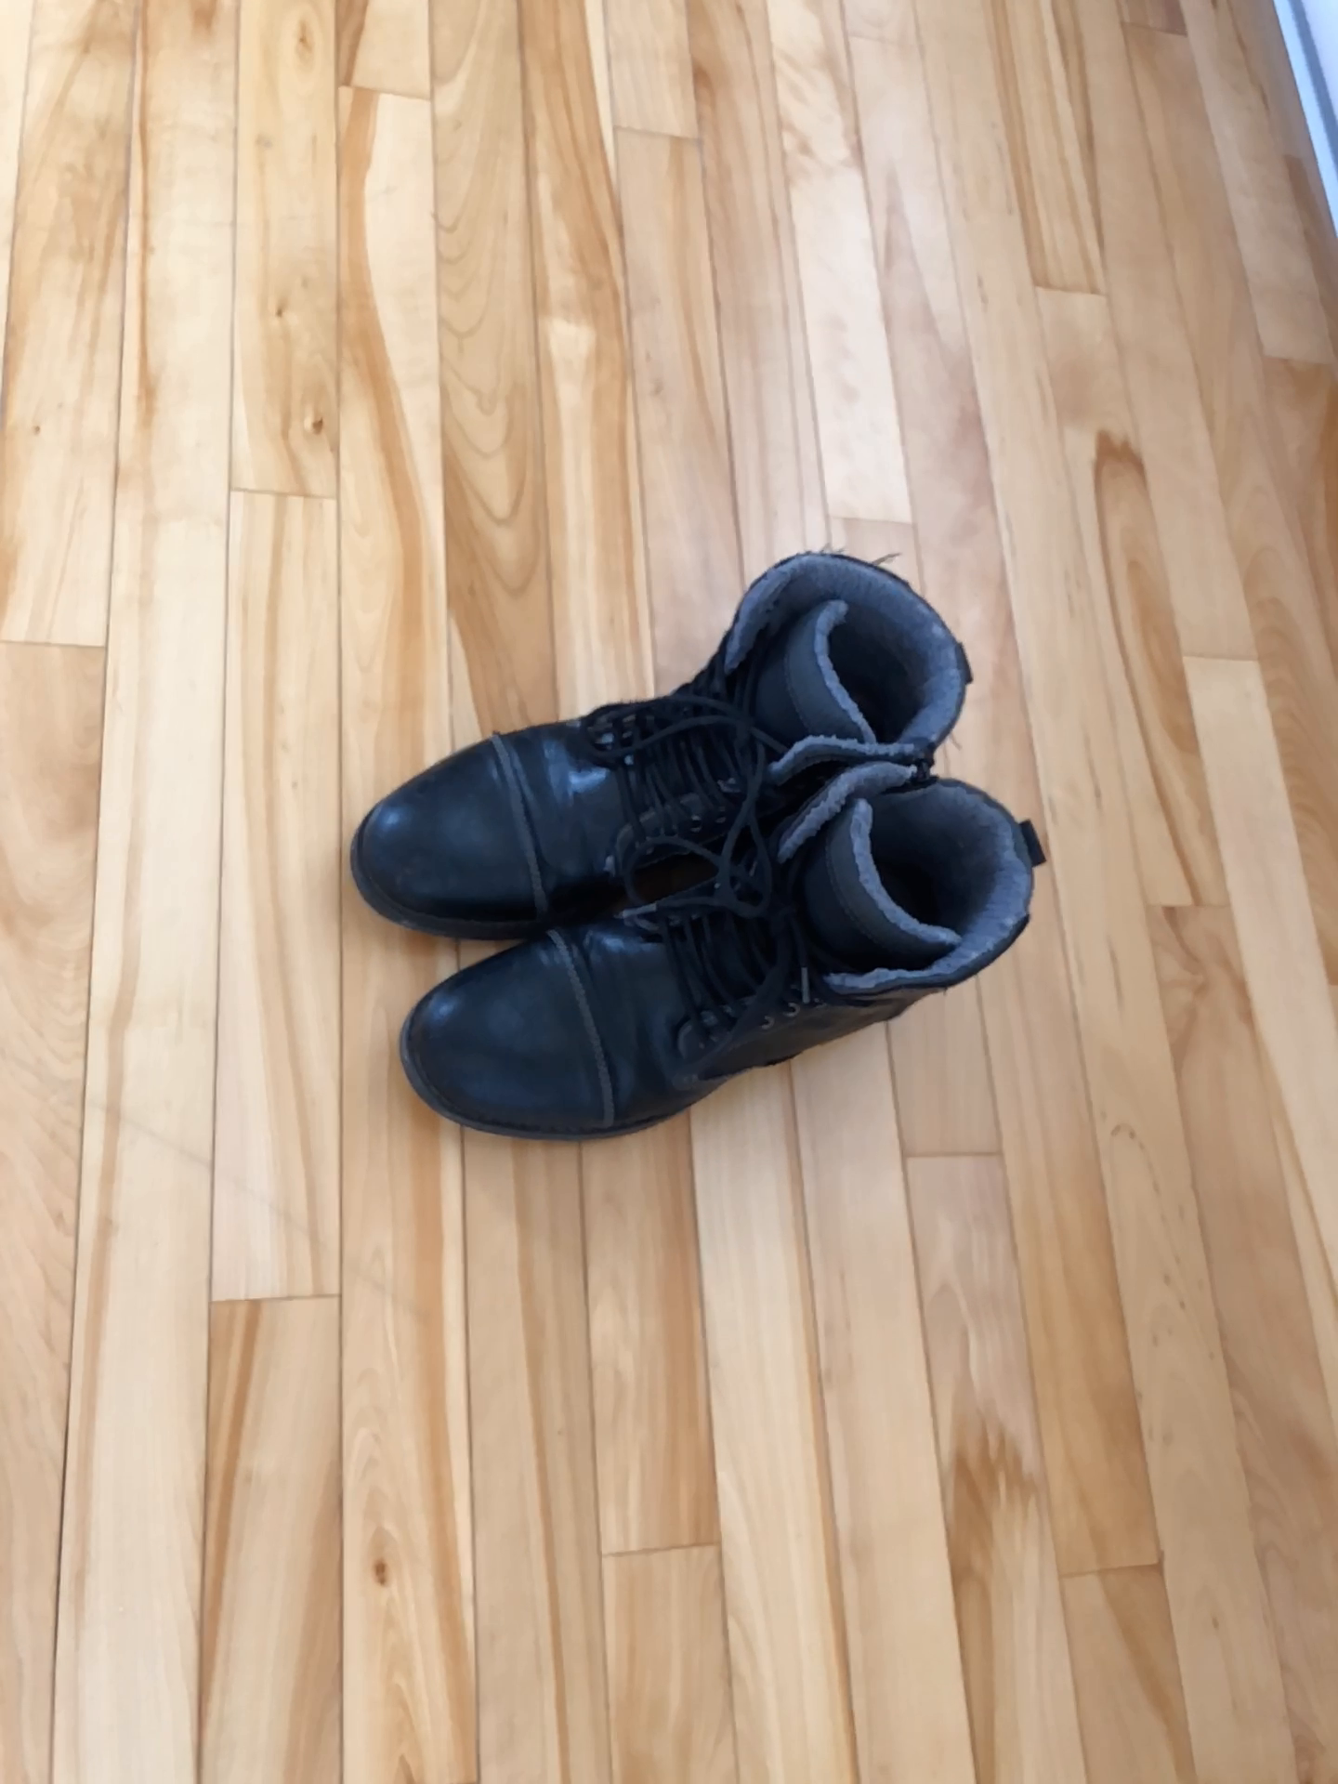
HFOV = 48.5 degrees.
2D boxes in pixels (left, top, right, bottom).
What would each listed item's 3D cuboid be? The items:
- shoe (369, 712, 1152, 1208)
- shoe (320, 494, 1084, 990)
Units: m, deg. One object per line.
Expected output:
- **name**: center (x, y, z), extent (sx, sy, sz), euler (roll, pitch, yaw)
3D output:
- **shoe**: center (0.029, 0.036, 0.702), extent (0.301, 0.200, 0.120), euler (-13, 75, -20)
- **shoe**: center (0.000, -0.065, 0.691), extent (0.290, 0.200, 0.120), euler (-10, 74, -19)
